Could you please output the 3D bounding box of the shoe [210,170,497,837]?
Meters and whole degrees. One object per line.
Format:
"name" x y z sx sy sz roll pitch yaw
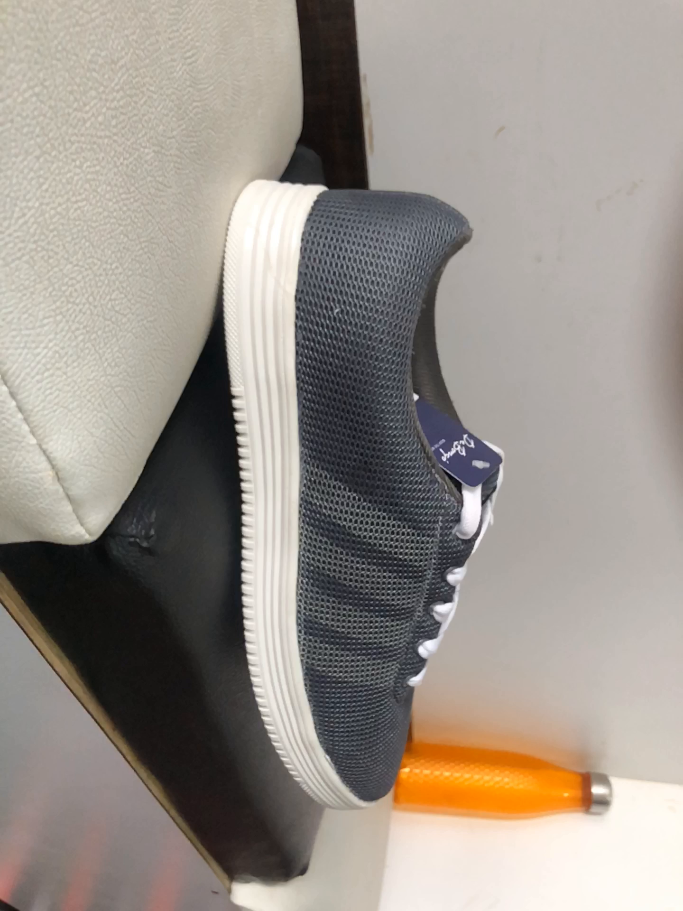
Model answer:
"shoe" 0.015 0.025 0.367 0.100 0.100 0.300 -65 155 -65
